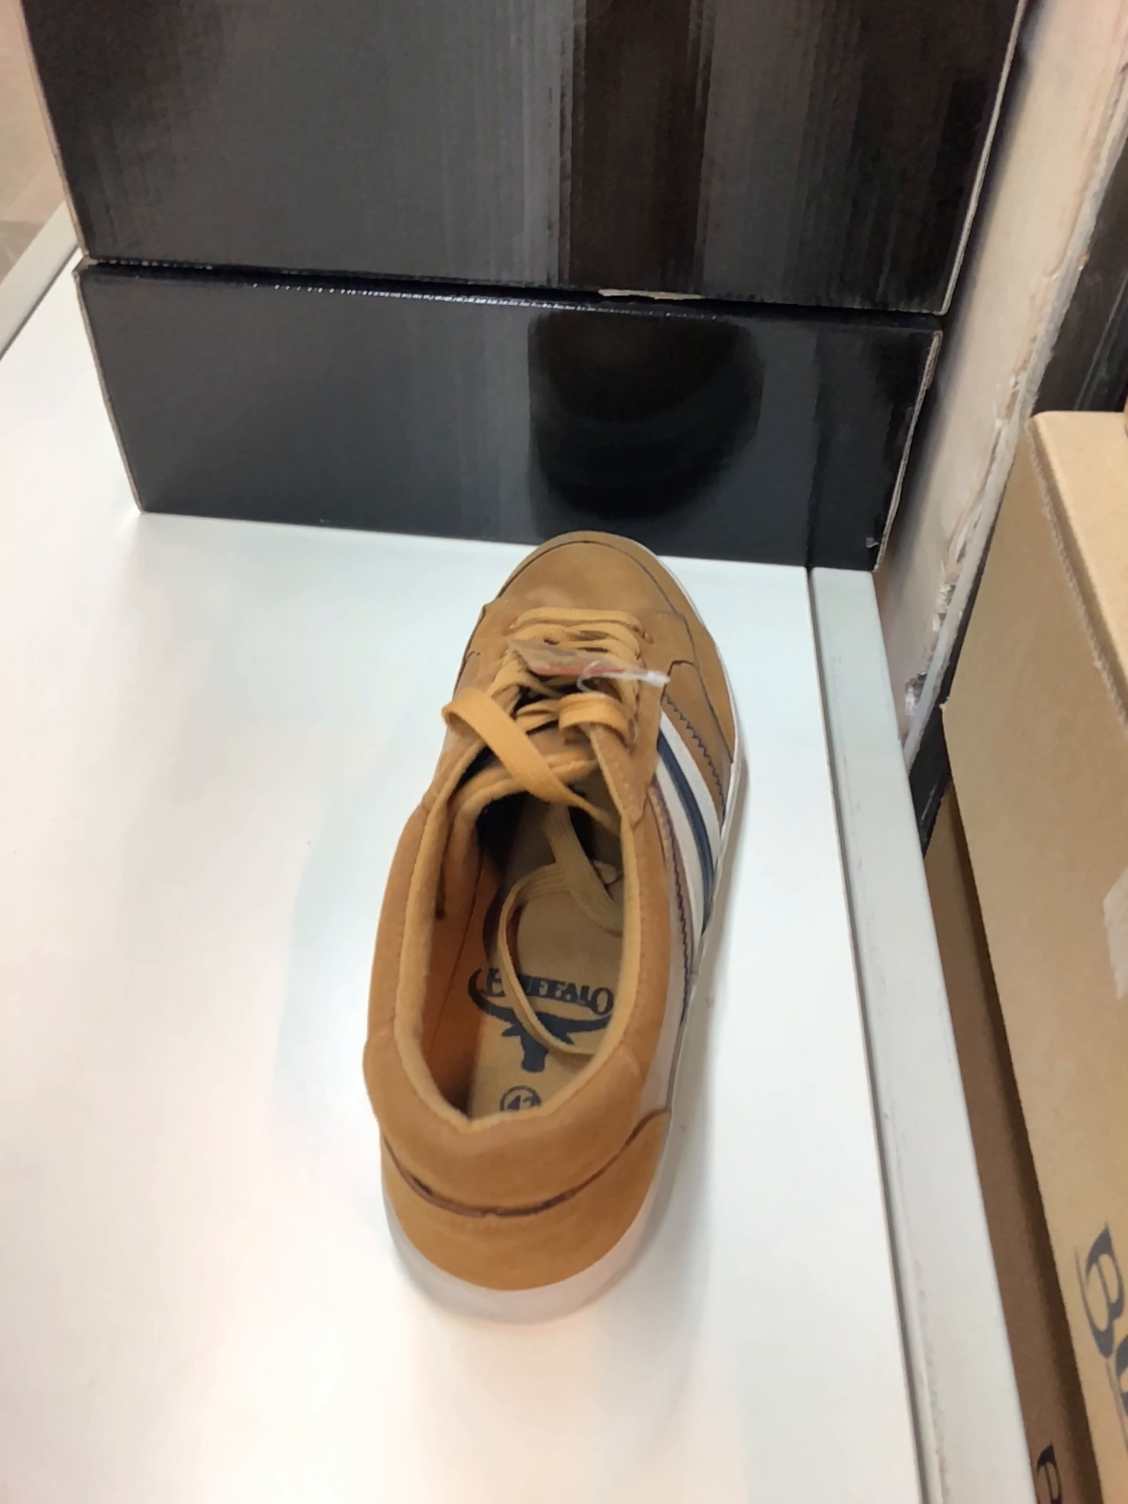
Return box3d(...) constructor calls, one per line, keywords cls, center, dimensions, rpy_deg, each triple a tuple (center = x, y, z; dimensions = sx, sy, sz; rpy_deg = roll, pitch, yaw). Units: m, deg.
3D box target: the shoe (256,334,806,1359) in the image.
box3d(cls="shoe", center=(0.007, 0.003, 0.372), dimensions=(0.105, 0.104, 0.296), rpy_deg=(5, 48, 3))
